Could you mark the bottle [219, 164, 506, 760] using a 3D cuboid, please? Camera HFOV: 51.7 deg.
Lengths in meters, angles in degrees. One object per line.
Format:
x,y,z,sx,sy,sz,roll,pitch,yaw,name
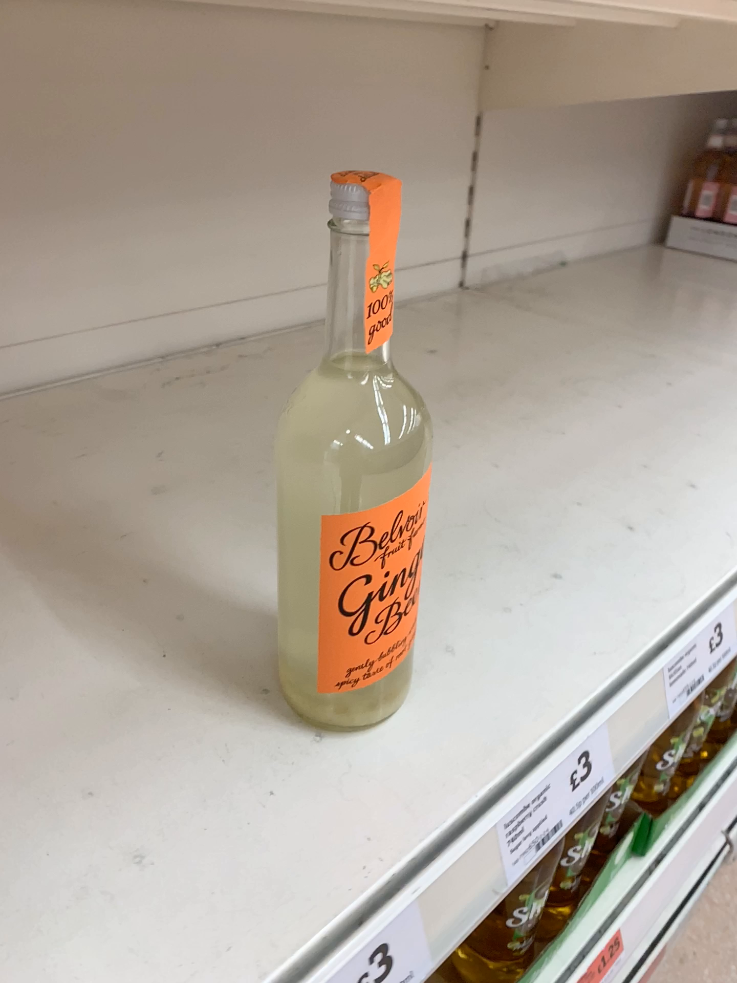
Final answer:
-0.010,-0.010,0.388,0.084,0.277,0.091,2,29,-1,bottle
